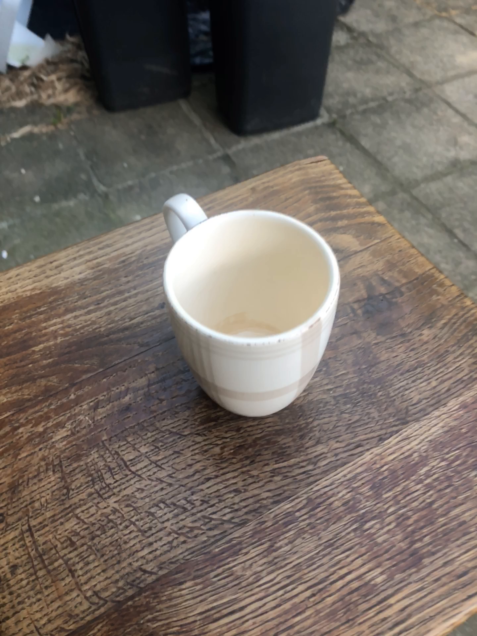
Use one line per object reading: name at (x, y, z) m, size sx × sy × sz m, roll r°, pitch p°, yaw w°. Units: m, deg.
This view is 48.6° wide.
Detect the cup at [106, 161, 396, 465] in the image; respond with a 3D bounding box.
cup at (0.003, -0.006, 0.294) m, size 0.088 × 0.078 × 0.125 m, roll -31°, pitch 60°, yaw -18°
